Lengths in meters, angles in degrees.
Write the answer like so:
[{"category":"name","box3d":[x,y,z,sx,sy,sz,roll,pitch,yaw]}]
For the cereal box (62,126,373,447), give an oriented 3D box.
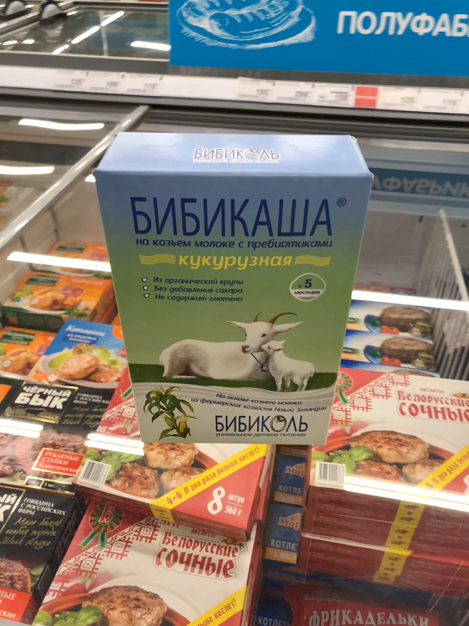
[{"category":"cereal box","box3d":[-0.007,-0.004,0.314,0.140,0.199,0.050,1,38,2]}]
